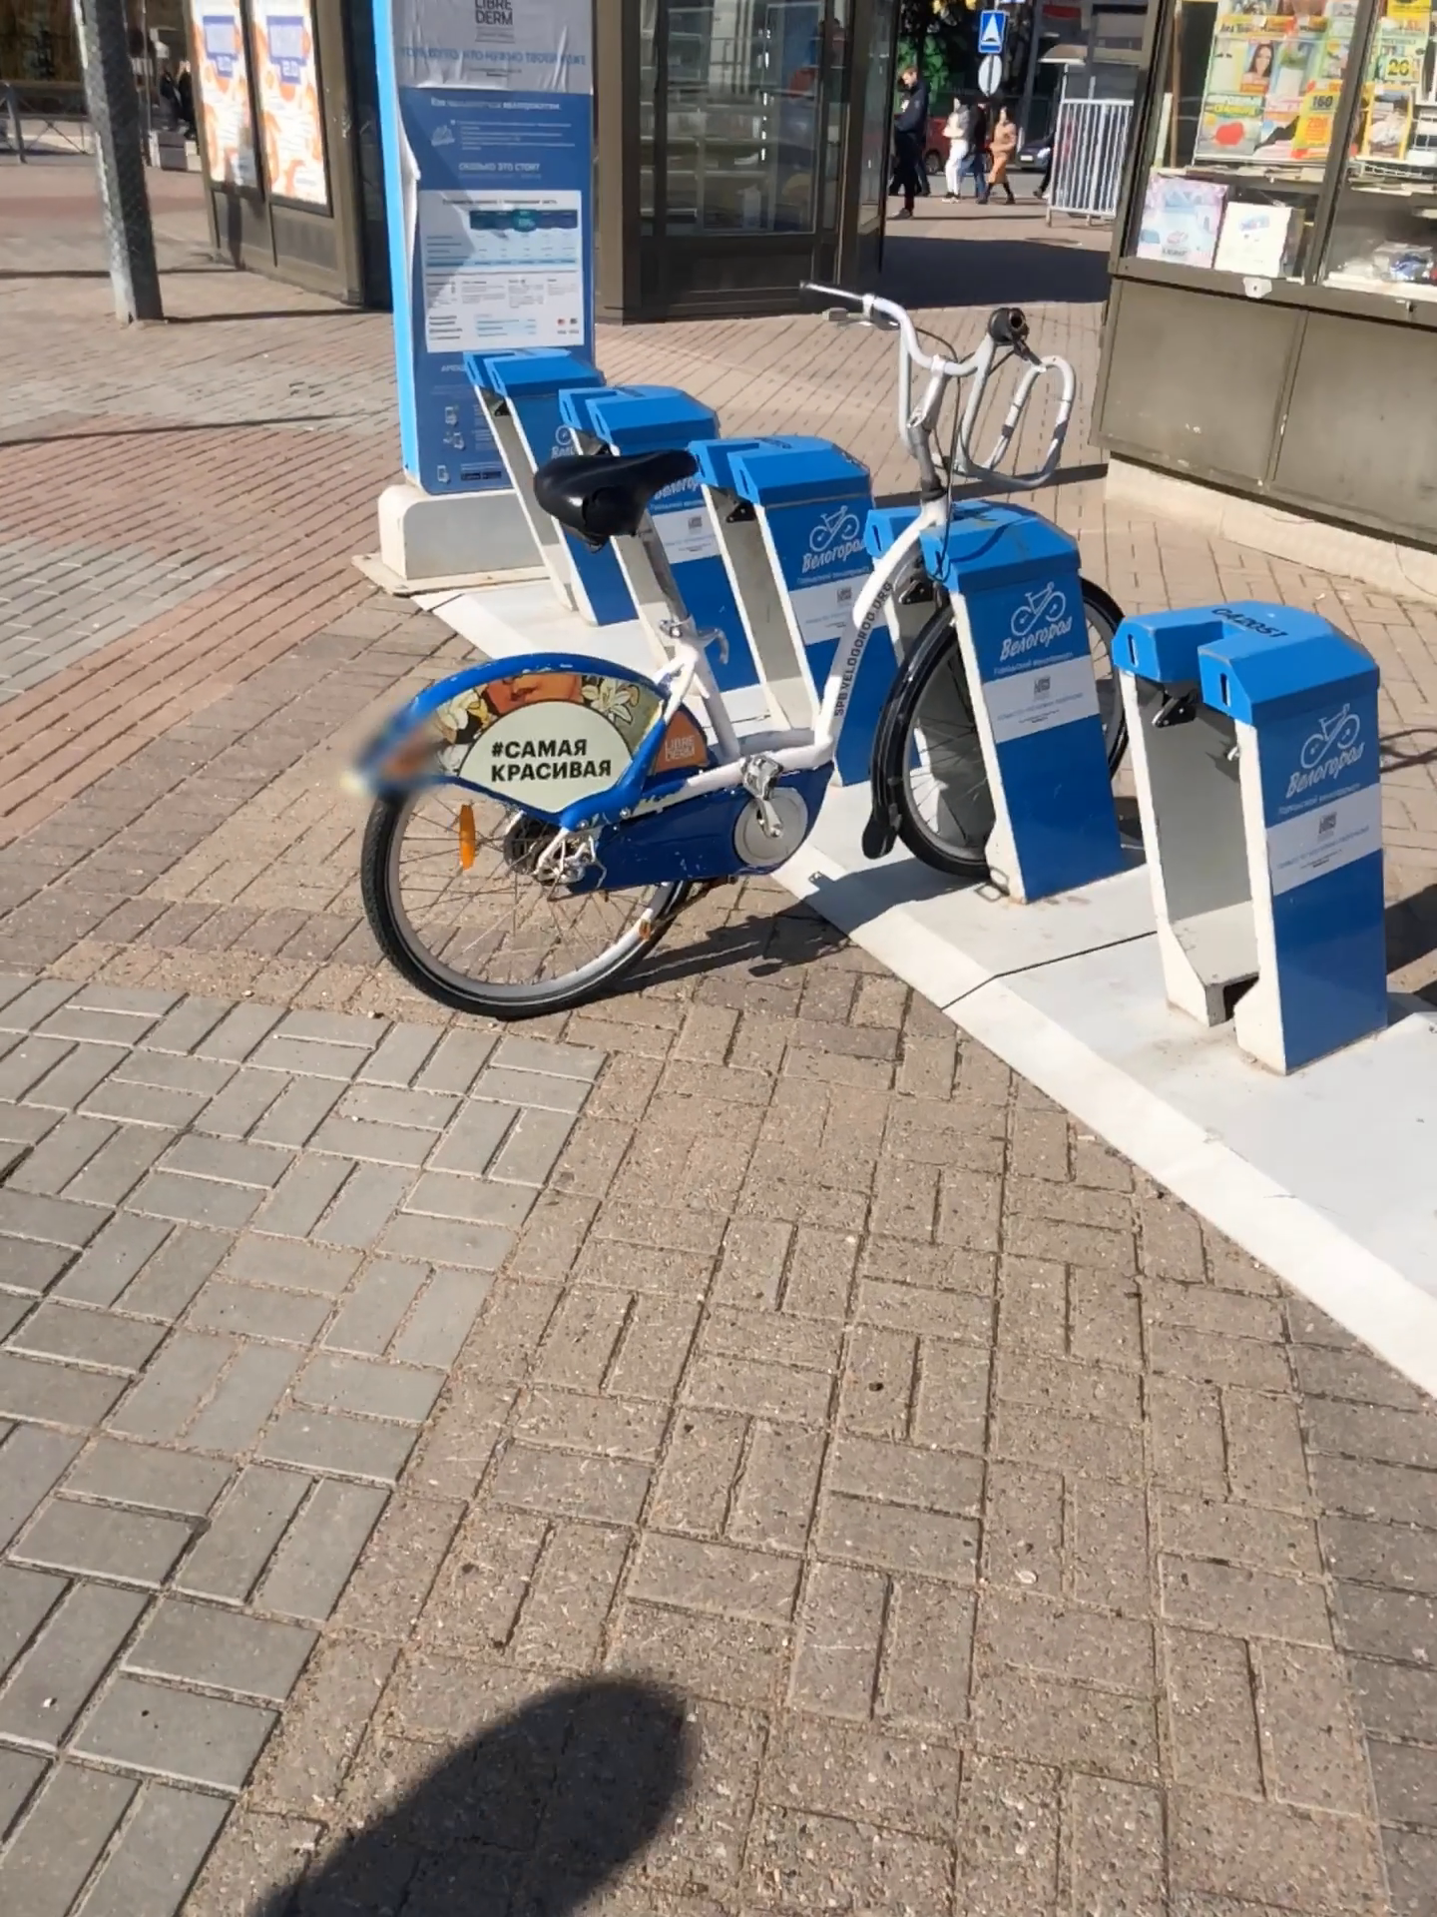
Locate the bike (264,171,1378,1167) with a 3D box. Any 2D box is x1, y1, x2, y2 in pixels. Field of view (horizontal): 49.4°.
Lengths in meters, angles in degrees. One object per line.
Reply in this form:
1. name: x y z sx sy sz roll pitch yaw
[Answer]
1. bike: 0.163 -0.581 2.696 1.629 1.203 0.598 -17 33 -24
